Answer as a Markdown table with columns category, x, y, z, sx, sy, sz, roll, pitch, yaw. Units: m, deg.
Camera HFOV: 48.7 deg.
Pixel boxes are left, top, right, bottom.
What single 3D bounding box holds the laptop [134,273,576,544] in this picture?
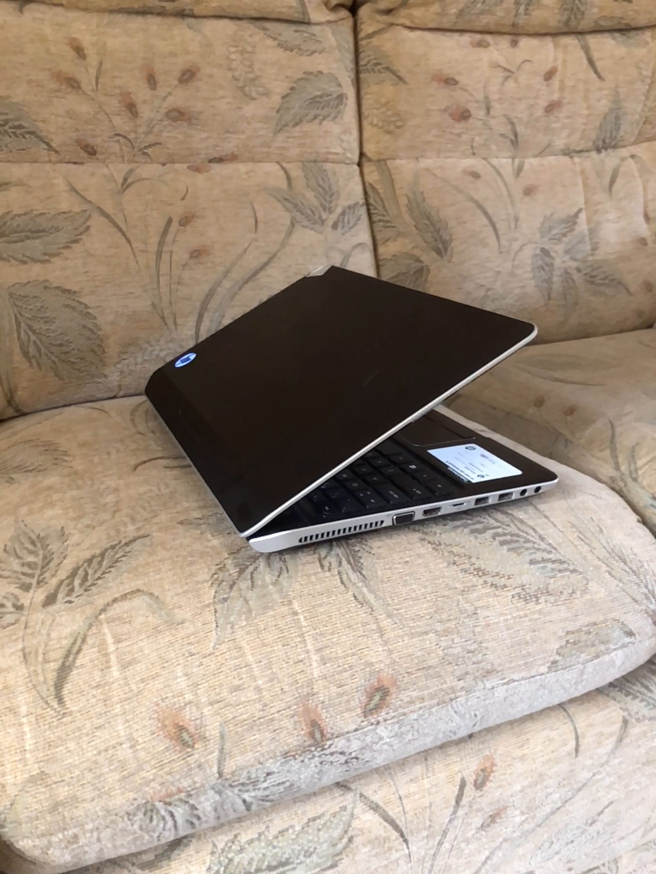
| category | x | y | z | sx | sy | sz | roll | pitch | yaw |
| --- | --- | --- | --- | --- | --- | --- | --- | --- | --- |
| laptop | -0.014 | -0.063 | 0.676 | 0.254 | 0.113 | 0.398 | -10 | 23 | -22 |
